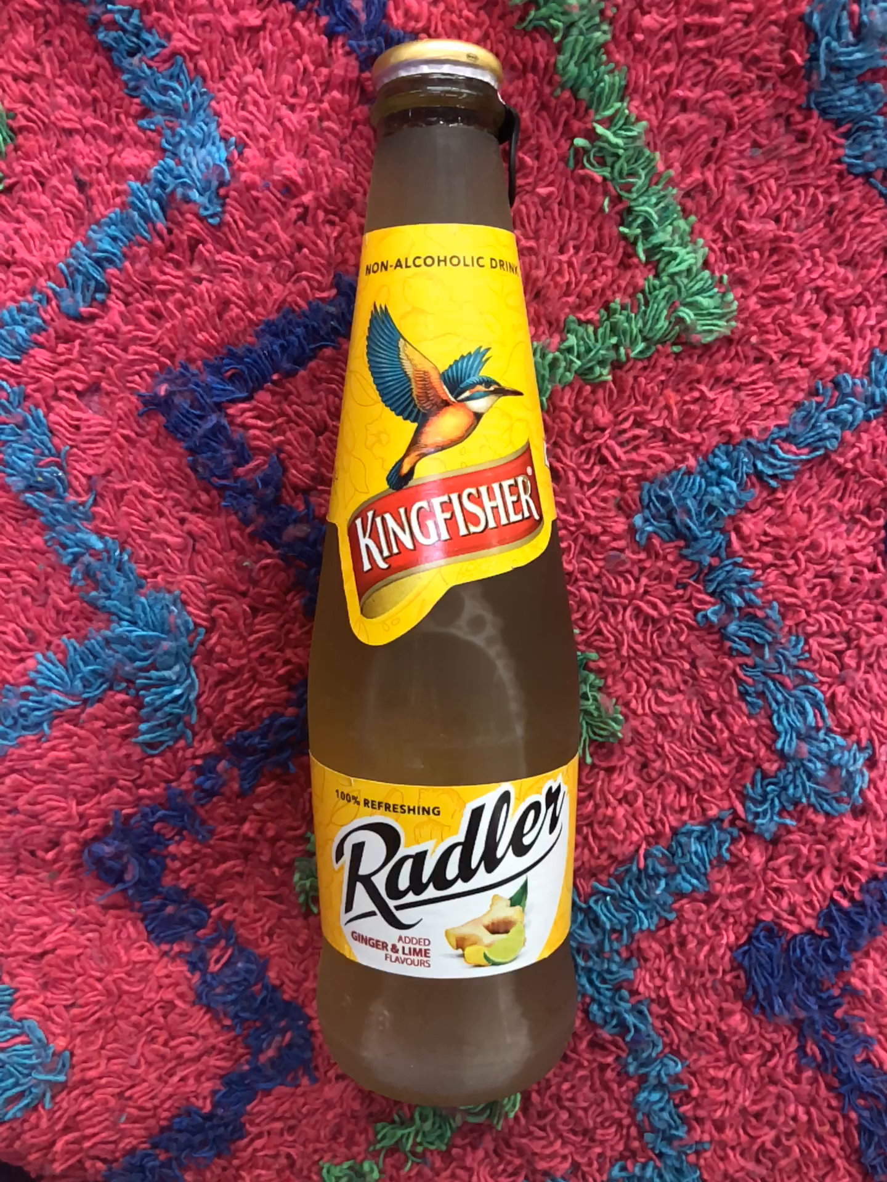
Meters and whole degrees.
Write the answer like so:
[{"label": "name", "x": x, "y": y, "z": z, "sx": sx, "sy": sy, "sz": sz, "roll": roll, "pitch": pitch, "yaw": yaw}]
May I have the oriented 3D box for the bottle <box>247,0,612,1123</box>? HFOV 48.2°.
[{"label": "bottle", "x": 0.000, "y": -0.007, "z": 0.206, "sx": 0.060, "sy": 0.060, "sz": 0.210, "roll": 0, "pitch": 97, "yaw": 3}]
